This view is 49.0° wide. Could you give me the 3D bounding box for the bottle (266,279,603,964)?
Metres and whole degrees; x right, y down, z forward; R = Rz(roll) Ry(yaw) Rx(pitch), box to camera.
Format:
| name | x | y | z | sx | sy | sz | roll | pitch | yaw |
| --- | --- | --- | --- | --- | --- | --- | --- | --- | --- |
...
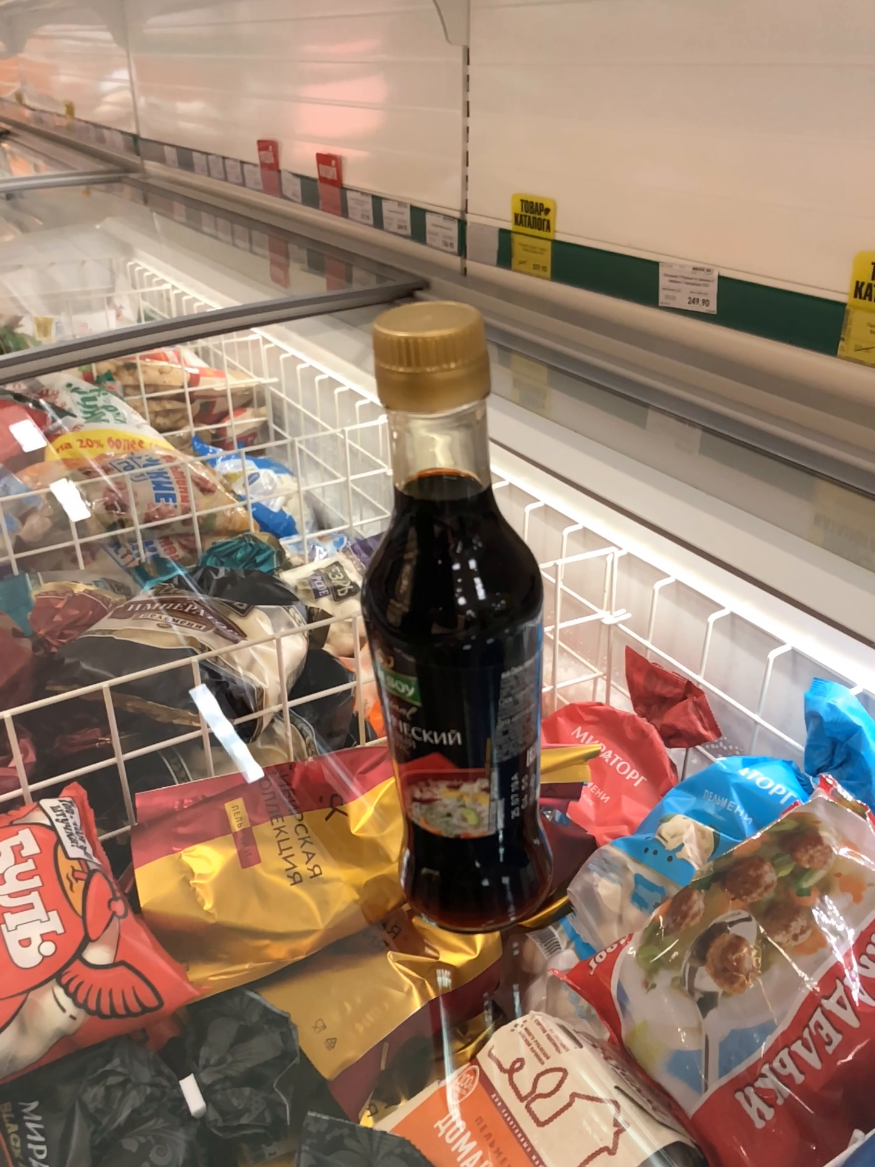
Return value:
| name | x | y | z | sx | sy | sz | roll | pitch | yaw |
| --- | --- | --- | --- | --- | --- | --- | --- | --- | --- |
| bottle | 0.006 | 0.017 | 0.288 | 0.058 | 0.192 | 0.060 | -3 | 32 | 2 |
